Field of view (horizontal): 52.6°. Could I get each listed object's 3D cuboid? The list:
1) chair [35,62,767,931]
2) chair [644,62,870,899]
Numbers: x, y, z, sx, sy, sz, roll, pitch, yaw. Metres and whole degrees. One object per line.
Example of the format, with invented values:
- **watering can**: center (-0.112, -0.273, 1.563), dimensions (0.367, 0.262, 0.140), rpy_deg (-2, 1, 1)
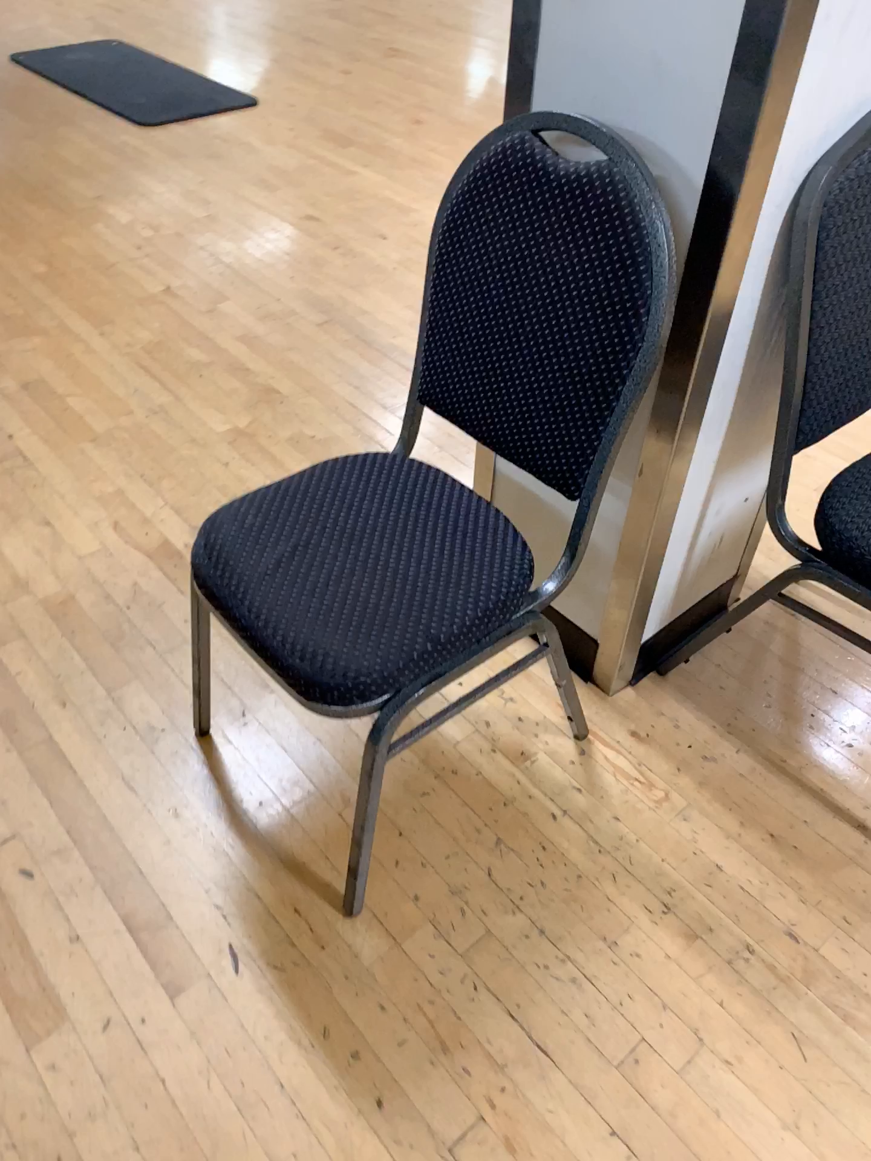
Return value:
- **chair**: center (-0.045, -0.085, 1.183), dimensions (0.555, 0.921, 0.462), rpy_deg (-29, 52, -29)
- **chair**: center (0.745, -0.116, 1.239), dimensions (0.462, 0.921, 0.555), rpy_deg (-27, 51, -28)
